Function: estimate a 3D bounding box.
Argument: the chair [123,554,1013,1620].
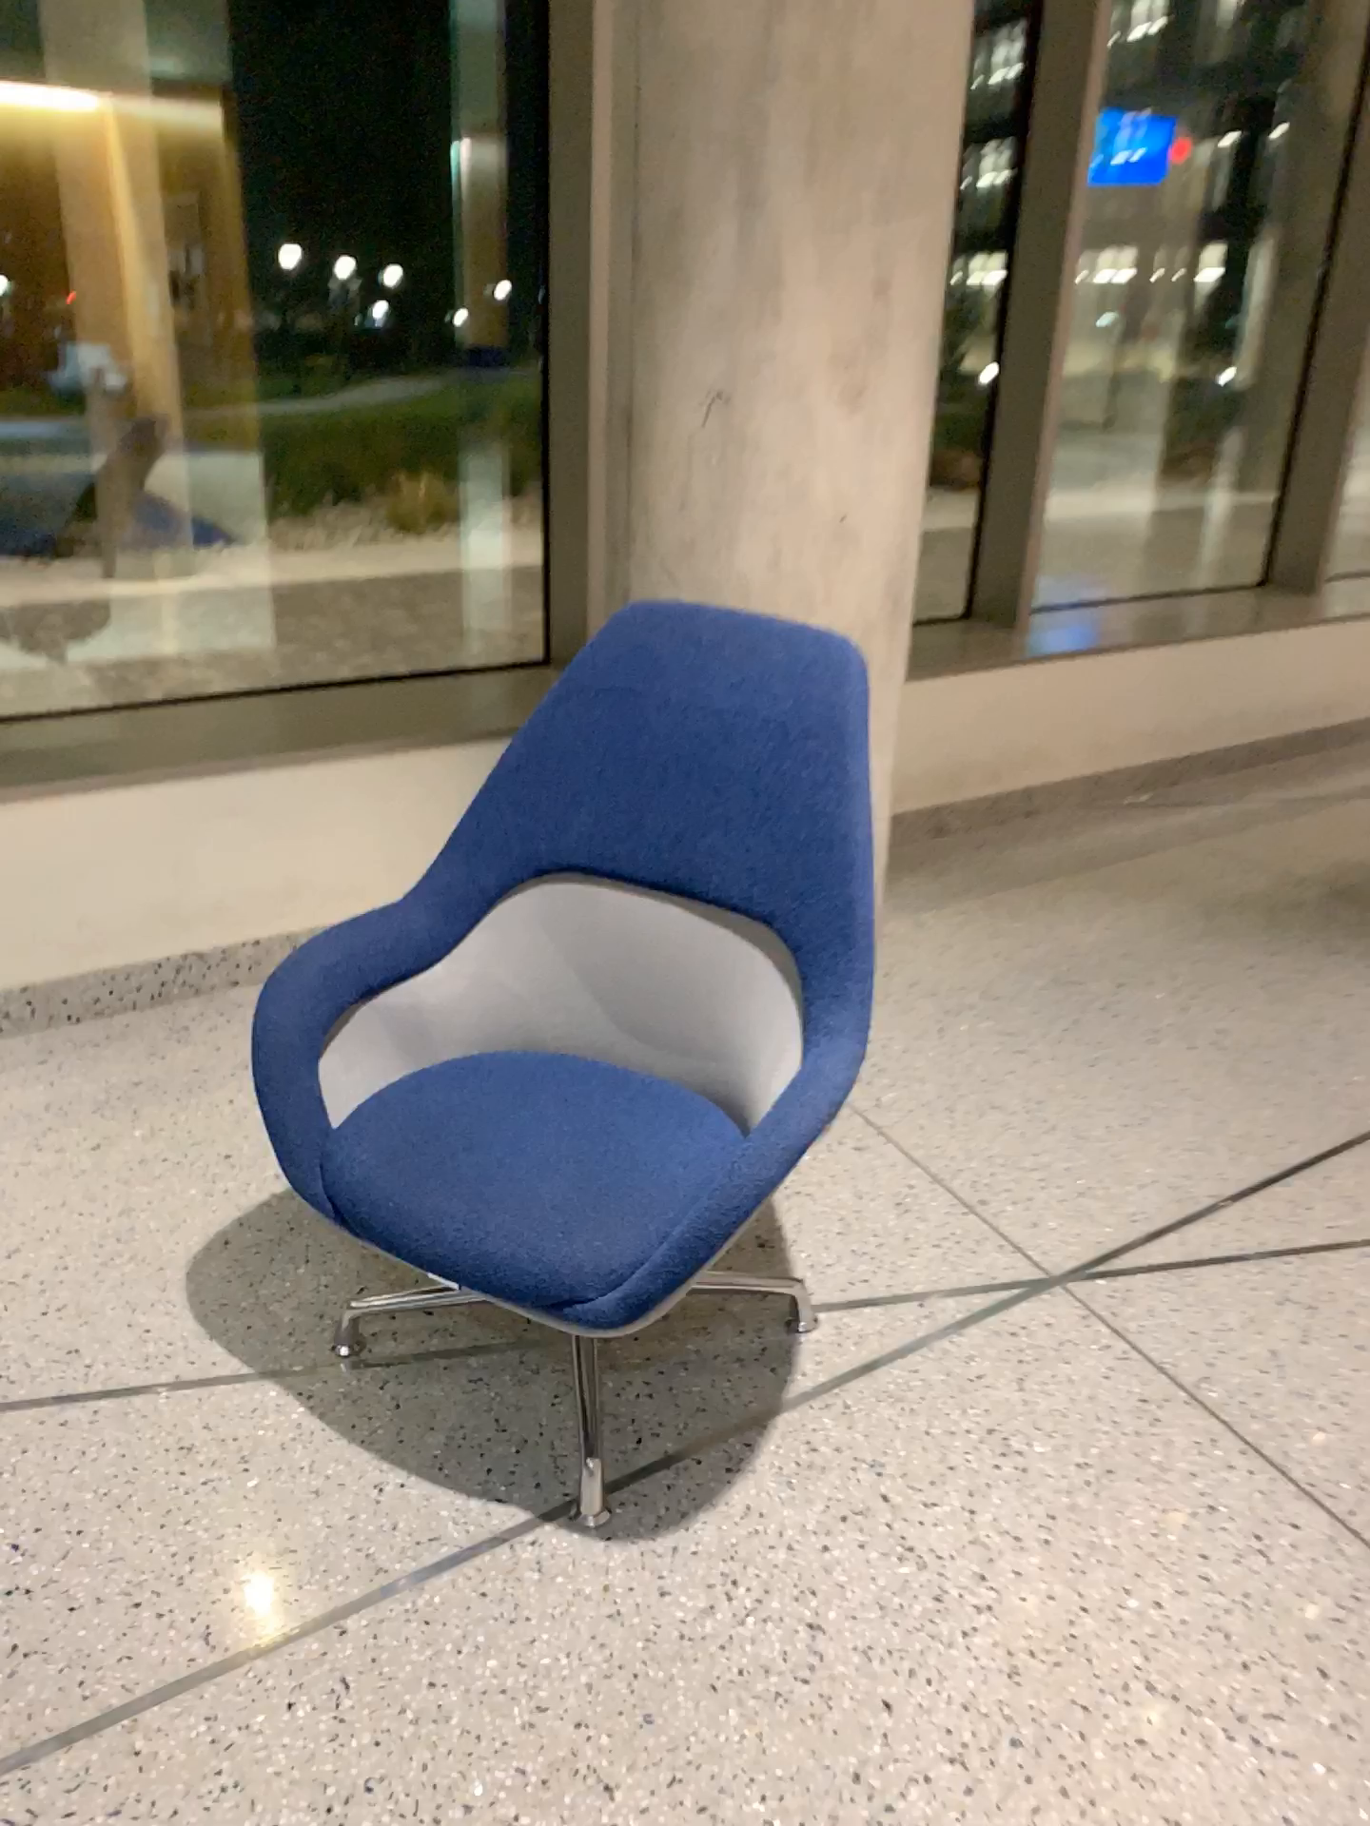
[{"bbox_3d":[-0.139,0.129,1.826,0.816,0.997,0.634,16,26,29],"label":"chair"}]
